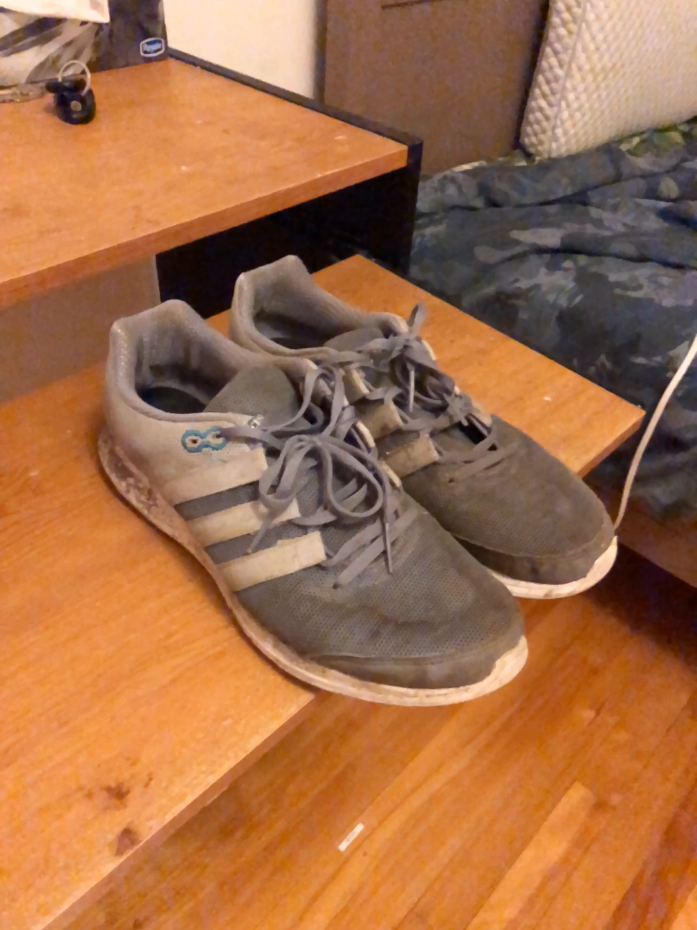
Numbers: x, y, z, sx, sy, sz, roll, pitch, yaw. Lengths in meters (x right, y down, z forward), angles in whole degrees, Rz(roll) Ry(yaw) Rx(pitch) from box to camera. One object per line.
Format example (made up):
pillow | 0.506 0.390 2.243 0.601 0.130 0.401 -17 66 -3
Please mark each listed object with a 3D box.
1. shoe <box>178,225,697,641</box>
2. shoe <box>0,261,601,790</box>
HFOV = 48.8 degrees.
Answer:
shoe | 0.038 -0.038 0.451 0.271 0.089 0.121 32 48 28
shoe | -0.045 0.006 0.391 0.301 0.089 0.111 31 47 27
